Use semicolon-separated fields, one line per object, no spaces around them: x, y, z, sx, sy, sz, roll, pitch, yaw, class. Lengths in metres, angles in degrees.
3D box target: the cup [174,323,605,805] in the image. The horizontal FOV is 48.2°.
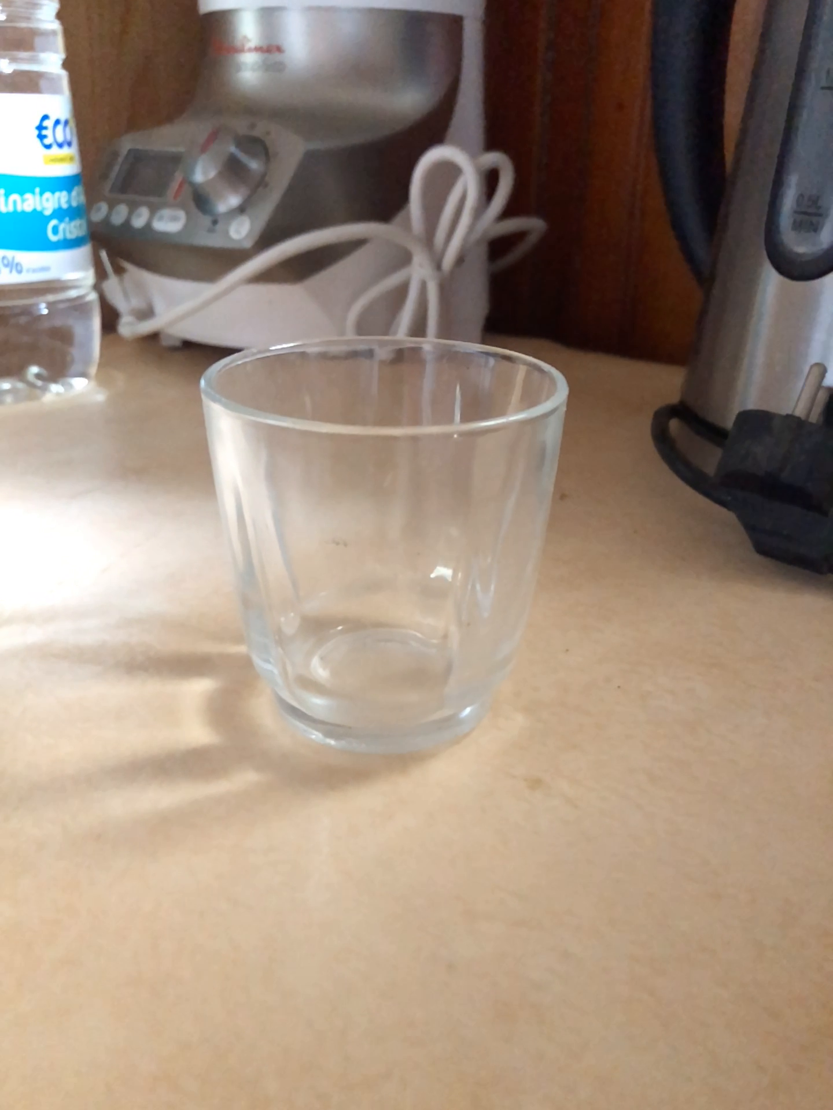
-0.006;-0.002;0.200;0.070;0.080;0.070;1;25;0;cup
